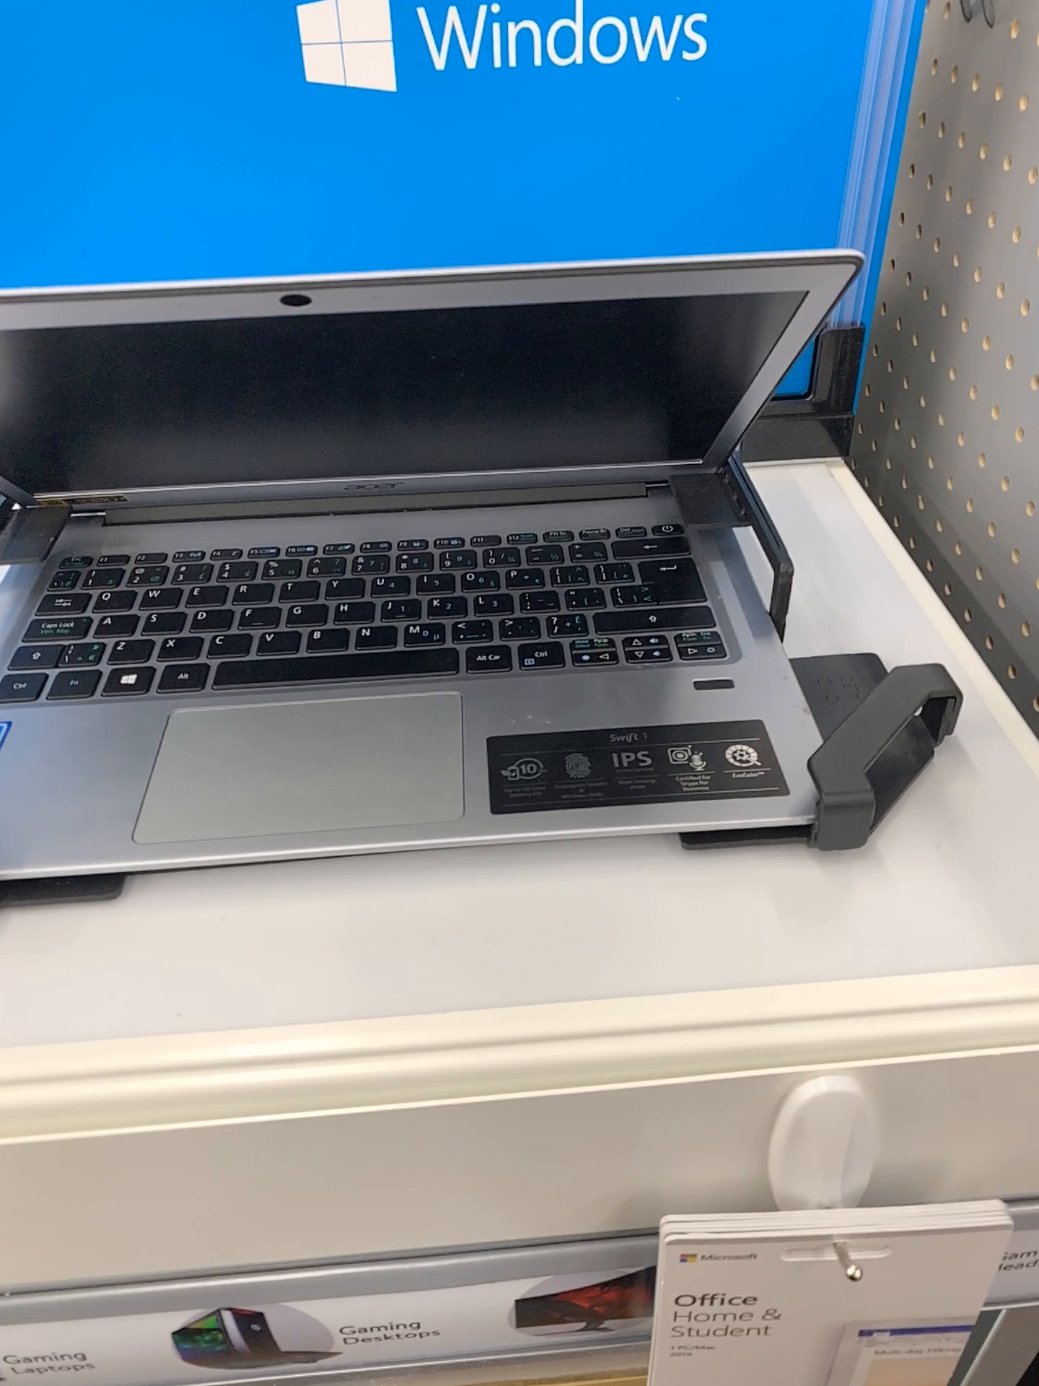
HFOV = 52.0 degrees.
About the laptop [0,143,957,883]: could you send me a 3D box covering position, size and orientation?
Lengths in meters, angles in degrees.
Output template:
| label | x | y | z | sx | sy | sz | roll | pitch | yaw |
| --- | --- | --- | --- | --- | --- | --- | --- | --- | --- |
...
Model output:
| label | x | y | z | sx | sy | sz | roll | pitch | yaw |
| --- | --- | --- | --- | --- | --- | --- | --- | --- | --- |
| laptop | -0.062 | -0.075 | 0.355 | 0.305 | 0.141 | 0.214 | -4 | 38 | -2 |
